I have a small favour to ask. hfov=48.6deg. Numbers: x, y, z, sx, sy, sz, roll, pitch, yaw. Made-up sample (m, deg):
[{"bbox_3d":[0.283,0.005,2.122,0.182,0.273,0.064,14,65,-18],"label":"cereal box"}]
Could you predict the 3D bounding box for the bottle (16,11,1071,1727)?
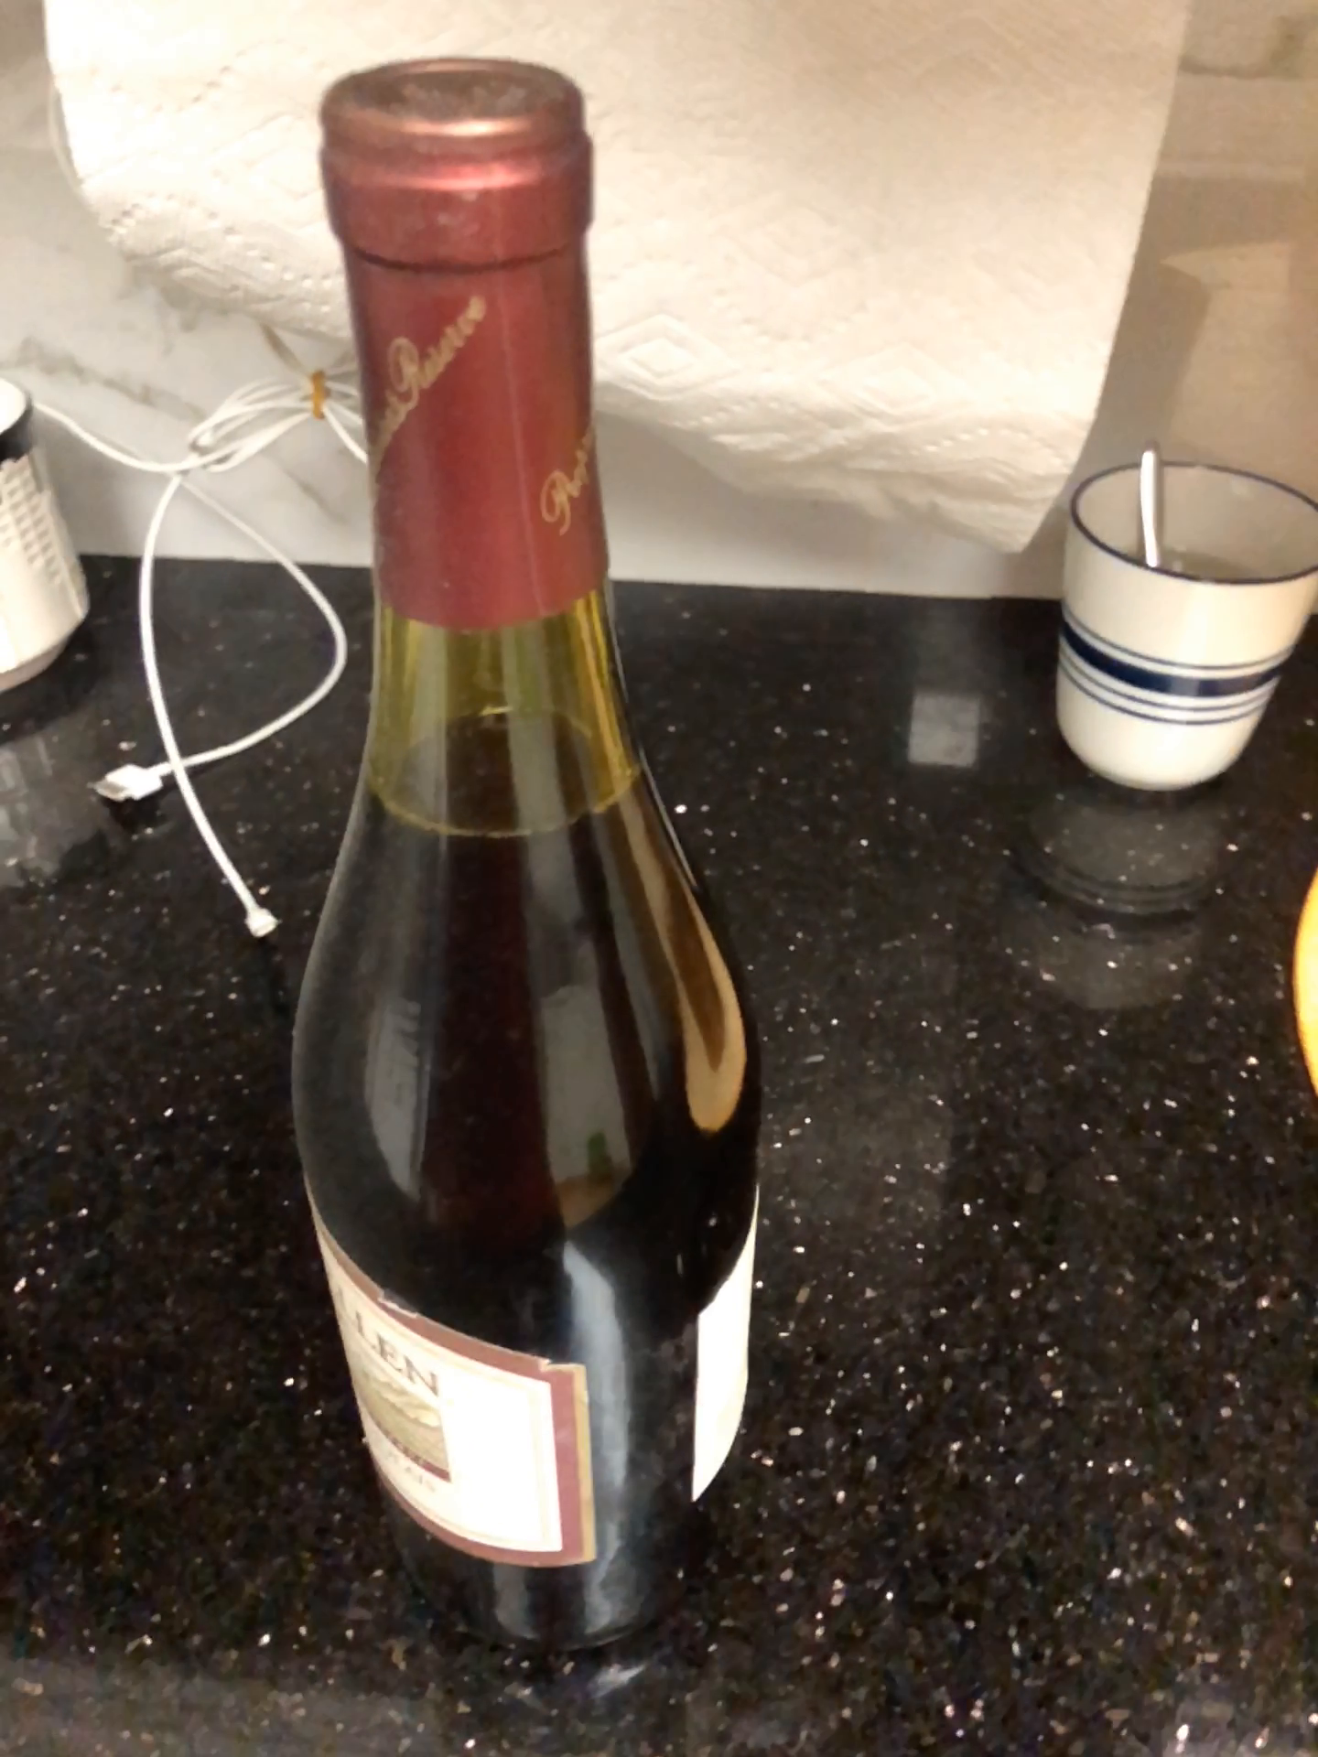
[{"bbox_3d":[-0.018,0.028,0.249,0.090,0.288,0.090,0,40,0],"label":"bottle"}]
